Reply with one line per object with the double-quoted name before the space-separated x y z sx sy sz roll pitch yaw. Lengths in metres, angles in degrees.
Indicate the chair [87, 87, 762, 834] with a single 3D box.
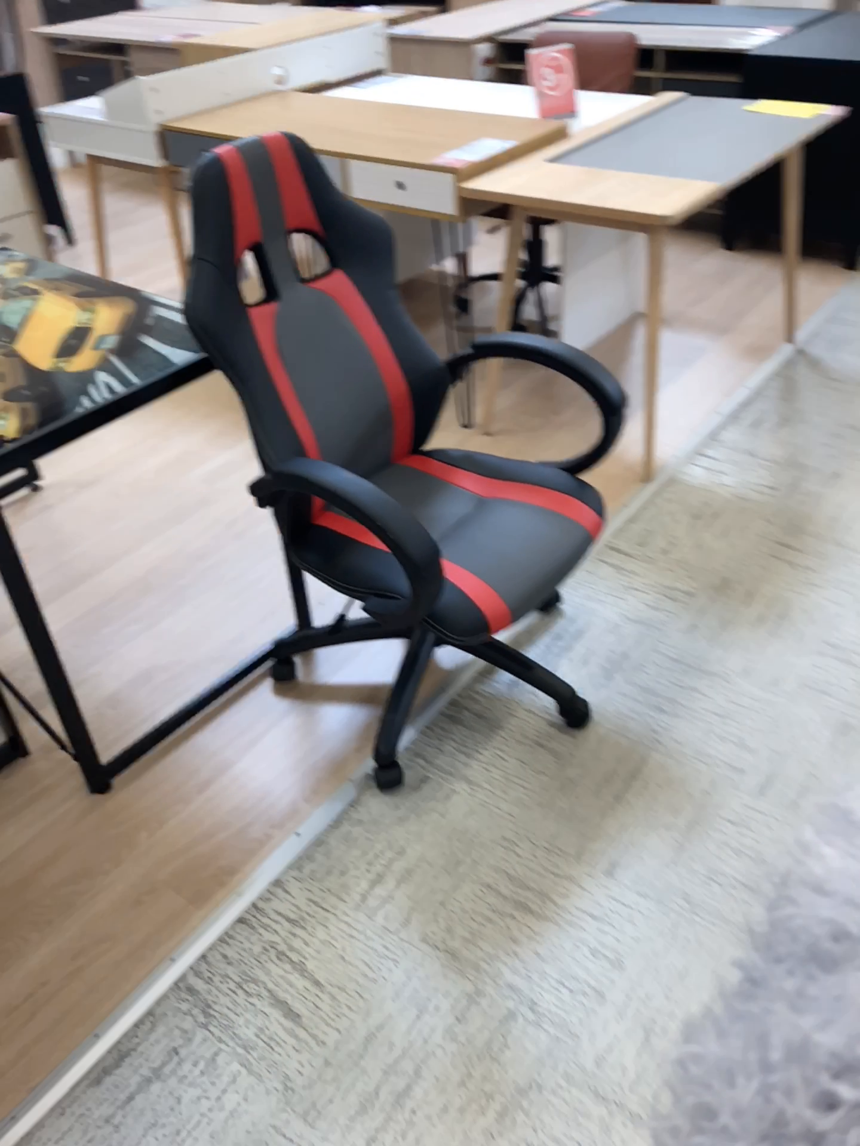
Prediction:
"chair" 0.033 -0.242 1.621 0.690 0.925 0.694 22 44 31
